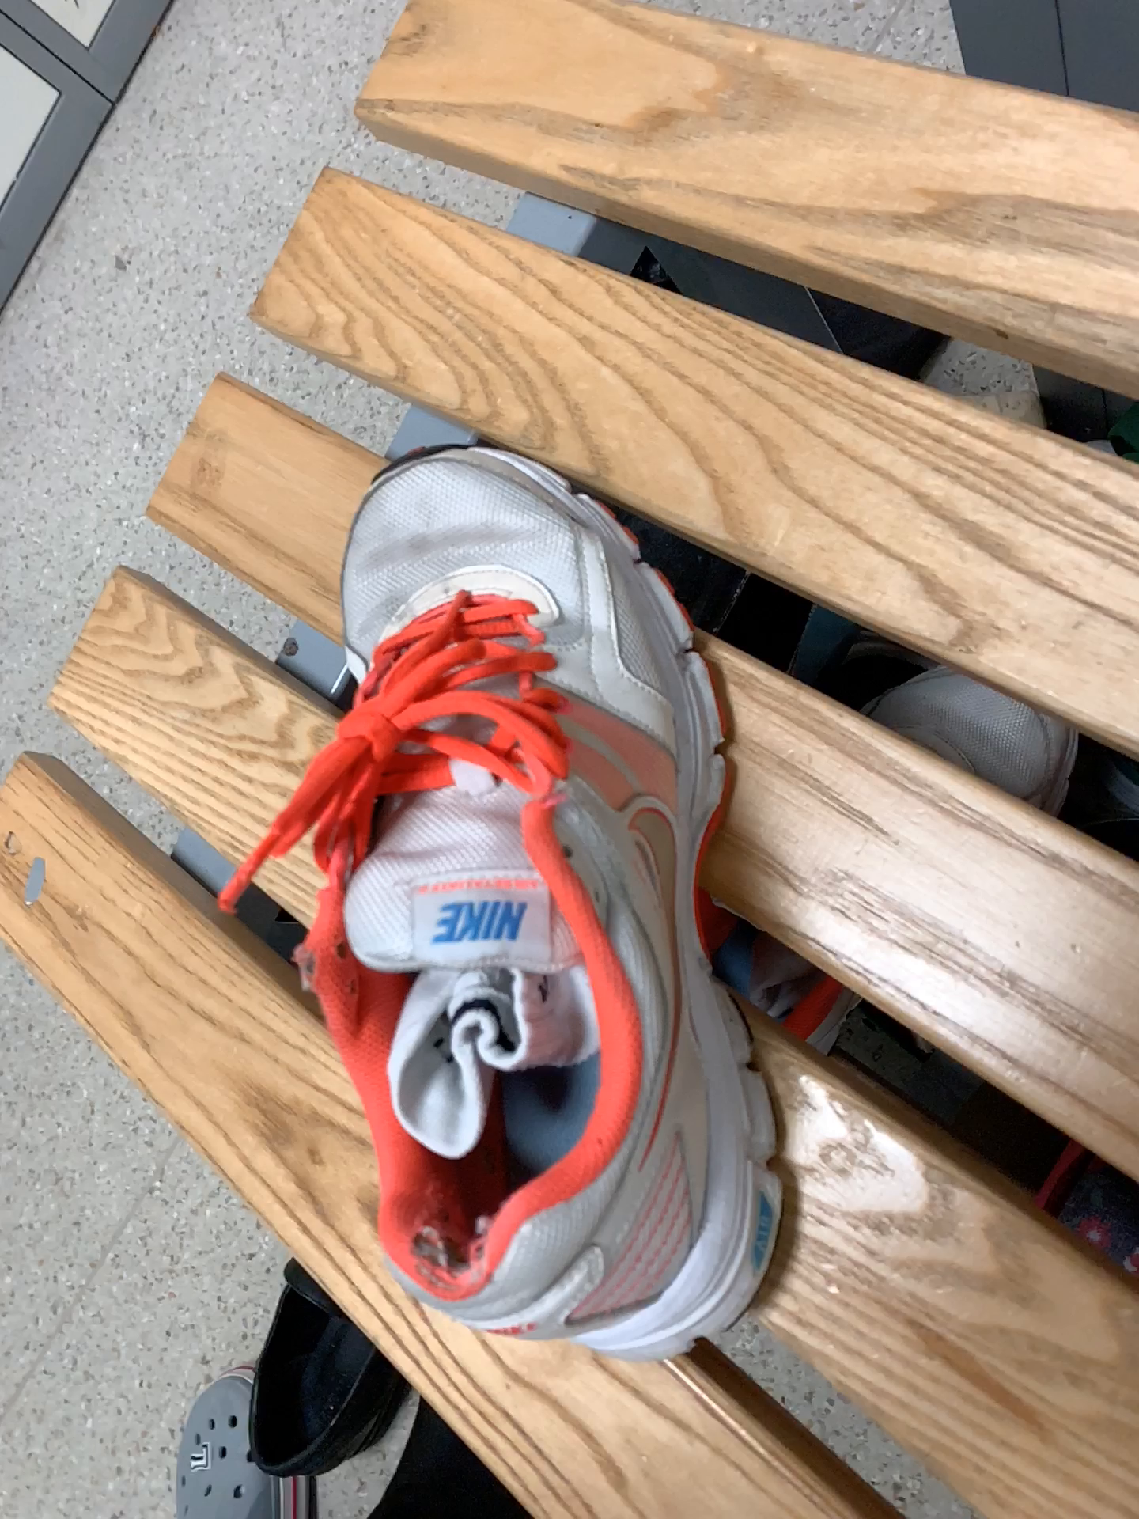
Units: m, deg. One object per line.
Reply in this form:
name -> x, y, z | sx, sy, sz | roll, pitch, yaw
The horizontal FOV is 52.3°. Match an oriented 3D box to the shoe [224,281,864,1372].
shoe -> -0.013, 0.017, 0.311 | 0.110, 0.079, 0.242 | -17, 73, 24
